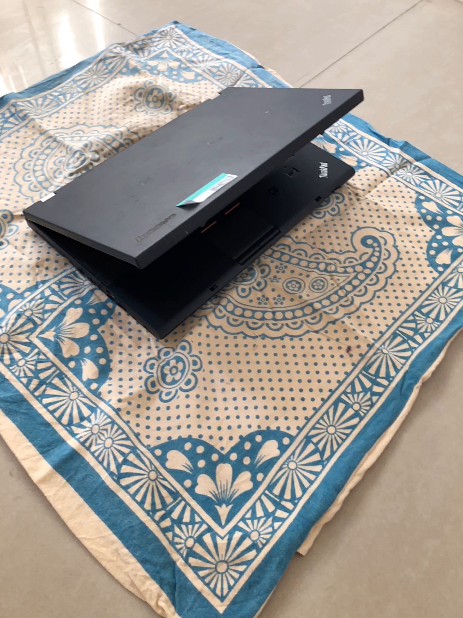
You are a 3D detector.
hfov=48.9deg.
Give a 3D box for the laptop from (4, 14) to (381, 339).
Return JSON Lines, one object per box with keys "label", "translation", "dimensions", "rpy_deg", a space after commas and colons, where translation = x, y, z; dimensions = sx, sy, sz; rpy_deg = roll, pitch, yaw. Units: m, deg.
{"label": "laptop", "translation": [-0.042, -0.179, 0.620], "dimensions": [0.240, 0.124, 0.349], "rpy_deg": [39, 67, 23]}
